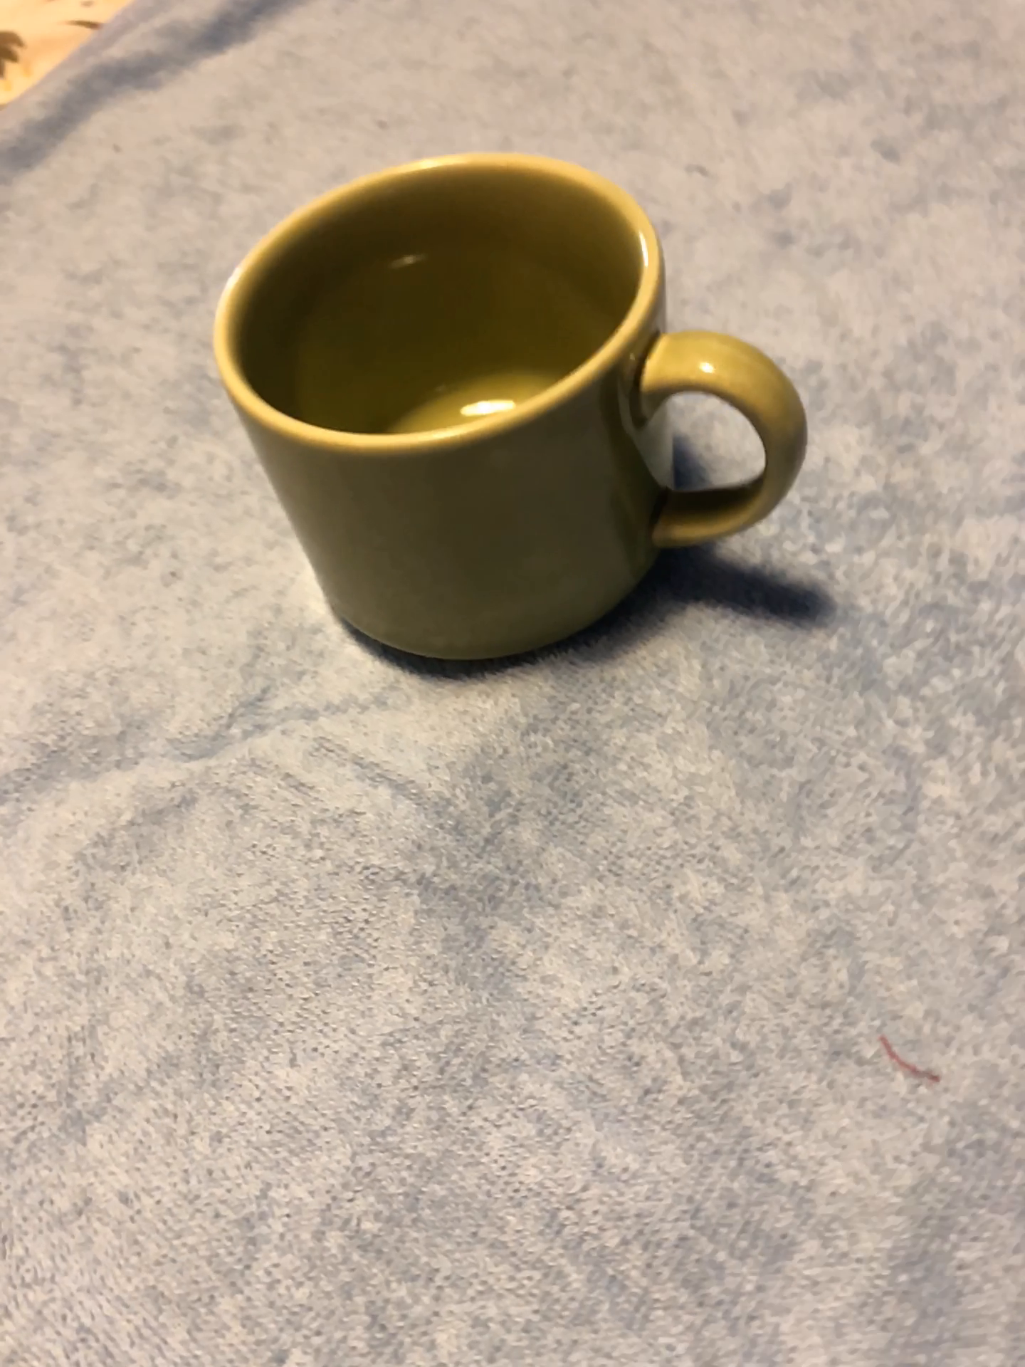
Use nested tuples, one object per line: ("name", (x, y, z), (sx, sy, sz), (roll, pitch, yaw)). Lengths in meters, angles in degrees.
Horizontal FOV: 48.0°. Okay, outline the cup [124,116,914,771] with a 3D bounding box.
("cup", (0.007, -0.050, 0.220), (0.110, 0.060, 0.090), (14, 60, 18))
